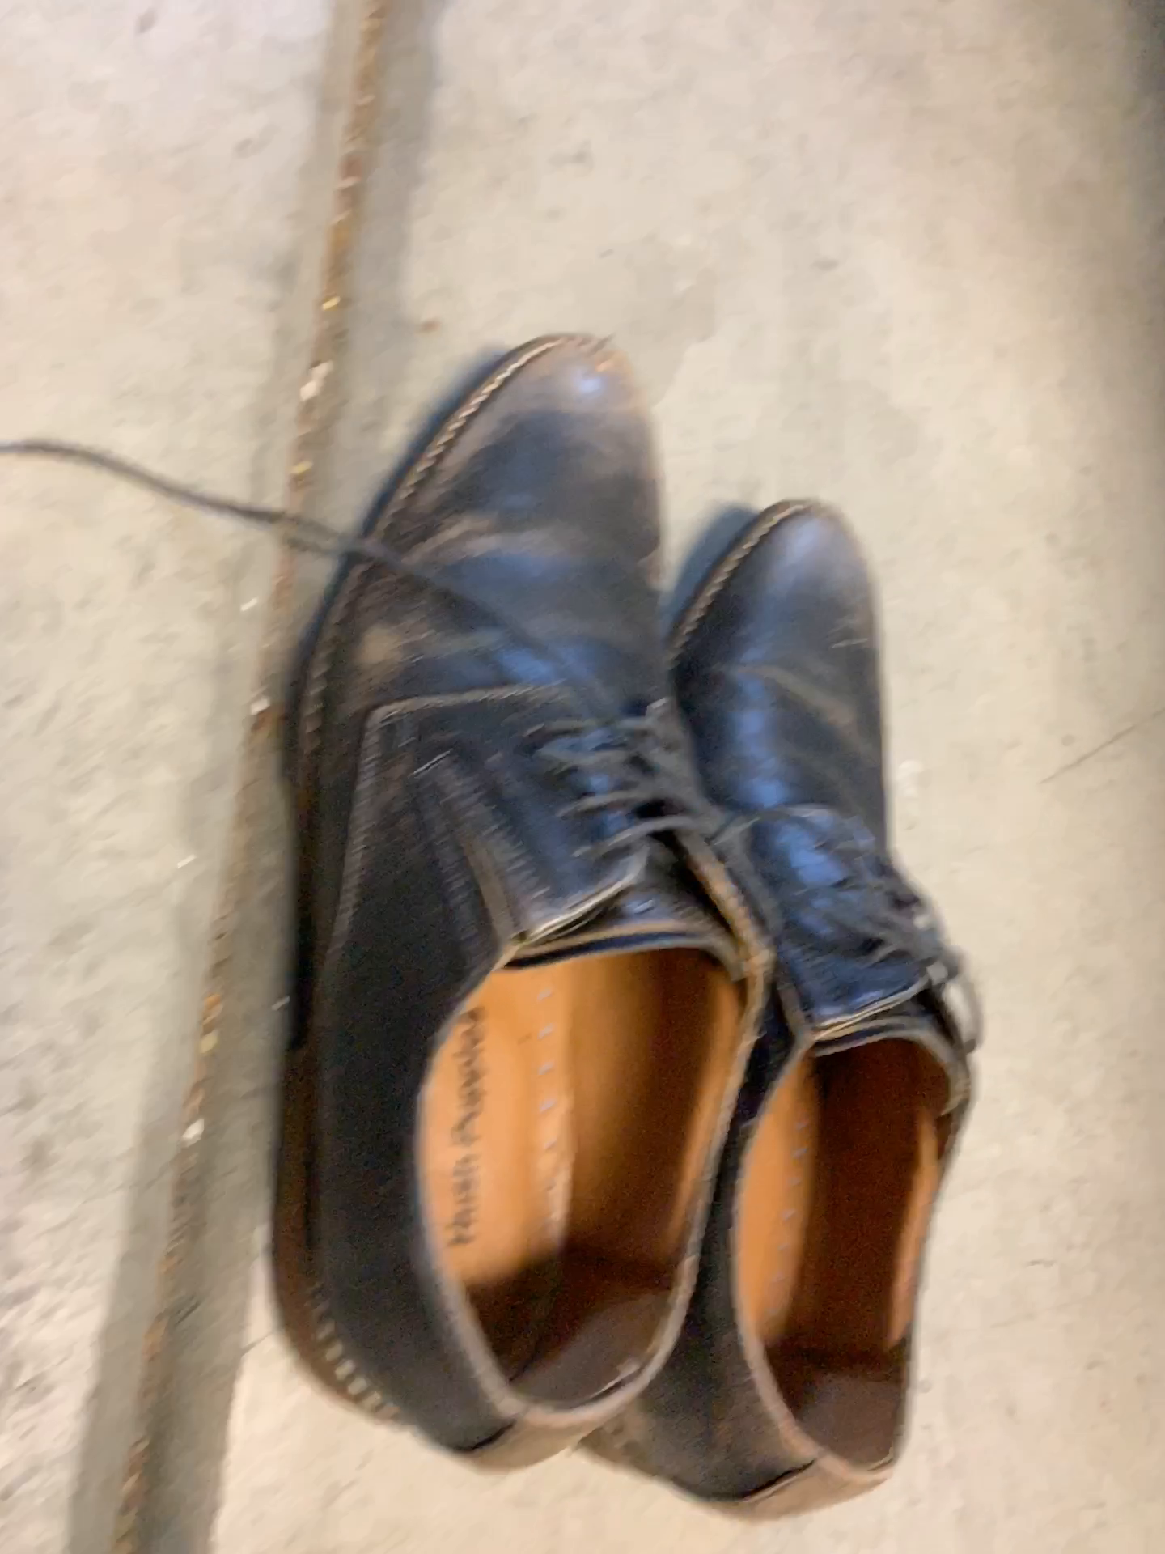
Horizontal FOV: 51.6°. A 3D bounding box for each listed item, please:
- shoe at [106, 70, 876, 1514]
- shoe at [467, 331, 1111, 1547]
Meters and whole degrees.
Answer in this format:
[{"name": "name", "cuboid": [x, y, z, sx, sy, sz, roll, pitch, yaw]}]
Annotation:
[{"name": "shoe", "cuboid": [-0.016, 0.000, 0.322, 0.110, 0.119, 0.311, 19, 70, -30]}, {"name": "shoe", "cuboid": [0.071, 0.042, 0.370, 0.110, 0.119, 0.305, 21, 69, -29]}]
